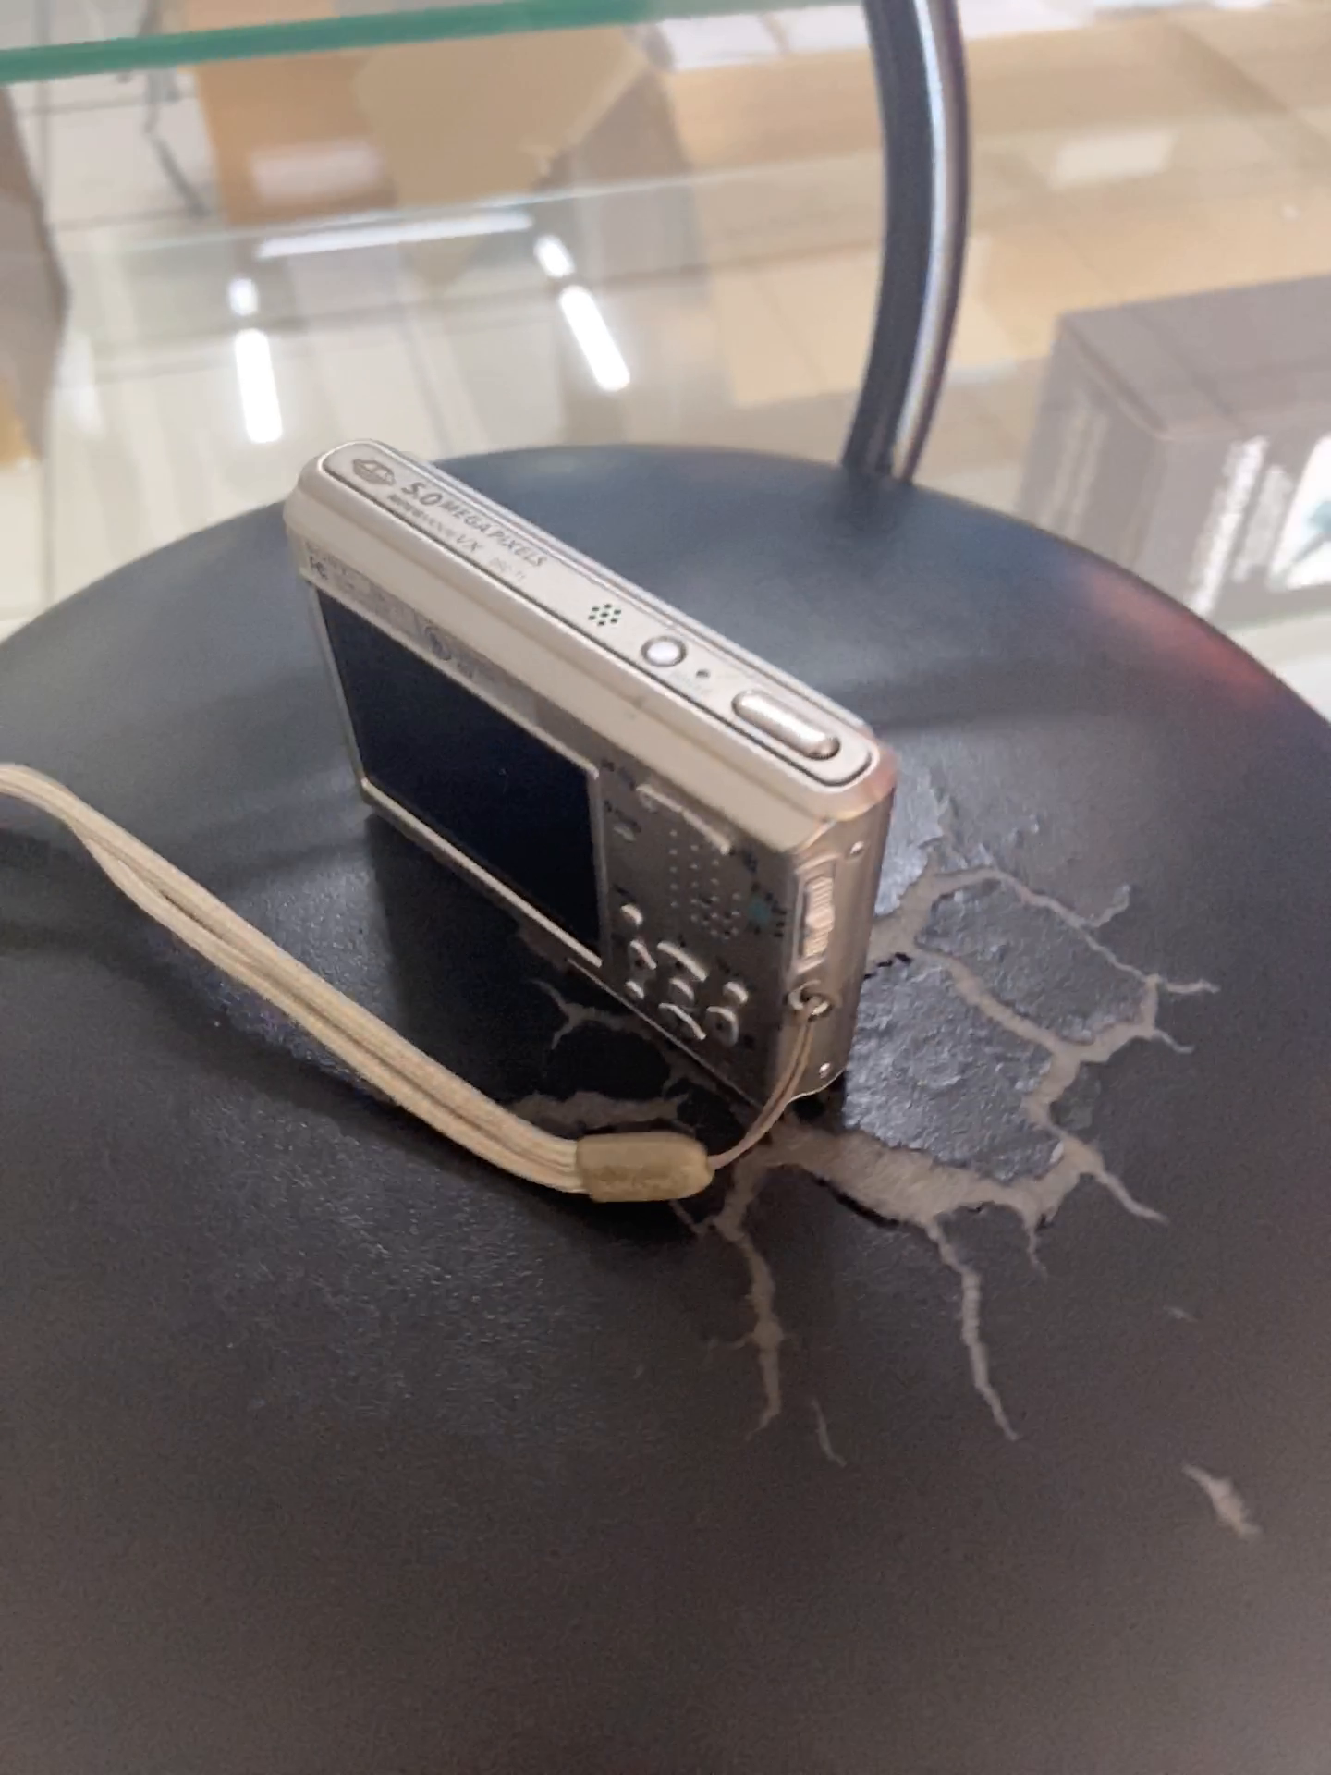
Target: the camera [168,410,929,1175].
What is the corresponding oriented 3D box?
[{"bbox_3d":[-0.018,-0.015,0.193,0.100,0.060,0.030,34,57,25],"label":"camera"}]
